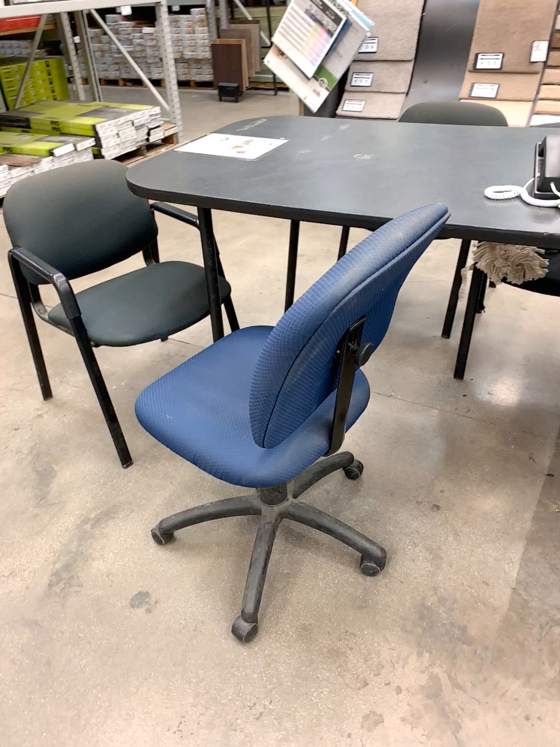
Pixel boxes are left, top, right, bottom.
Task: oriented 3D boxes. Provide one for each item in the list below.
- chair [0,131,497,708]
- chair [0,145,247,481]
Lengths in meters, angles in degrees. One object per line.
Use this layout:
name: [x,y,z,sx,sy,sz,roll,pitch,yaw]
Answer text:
chair: [-0.037,0.030,1.281,0.663,0.889,0.699,21,41,31]
chair: [-0.533,-0.225,1.847,0.543,0.800,0.568,27,45,37]
